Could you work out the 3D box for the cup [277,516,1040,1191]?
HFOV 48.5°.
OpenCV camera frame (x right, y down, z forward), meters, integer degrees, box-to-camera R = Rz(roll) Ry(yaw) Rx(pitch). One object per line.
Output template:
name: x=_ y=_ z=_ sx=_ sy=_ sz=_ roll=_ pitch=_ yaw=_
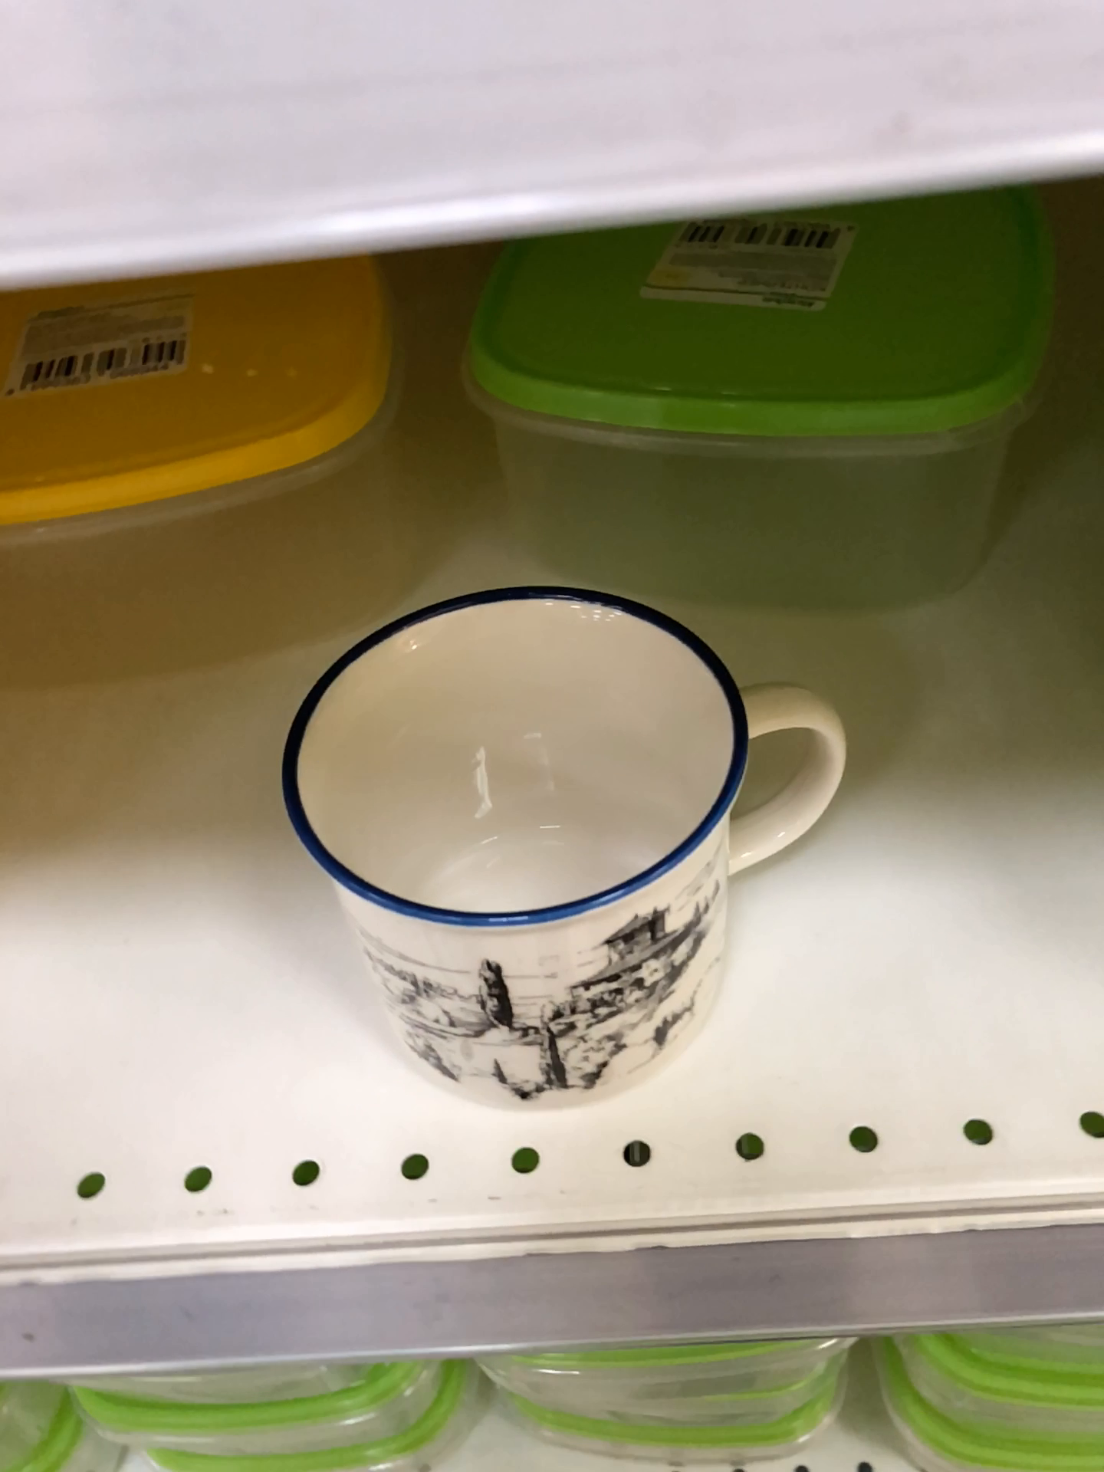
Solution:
cup: x=0.014 y=0.022 z=0.267 sx=0.130 sy=0.068 sz=0.103 roll=-11 pitch=47 yaw=-3
